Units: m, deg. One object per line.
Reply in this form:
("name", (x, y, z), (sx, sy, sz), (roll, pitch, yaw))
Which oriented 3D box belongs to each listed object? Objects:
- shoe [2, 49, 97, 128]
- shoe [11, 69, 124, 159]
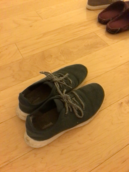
("shoe", (-0.038, -0.003, 0.502), (0.311, 0.099, 0.100), (-33, 60, -21))
("shoe", (0.020, 0.076, 0.441), (0.321, 0.099, 0.100), (-28, 58, -18))
